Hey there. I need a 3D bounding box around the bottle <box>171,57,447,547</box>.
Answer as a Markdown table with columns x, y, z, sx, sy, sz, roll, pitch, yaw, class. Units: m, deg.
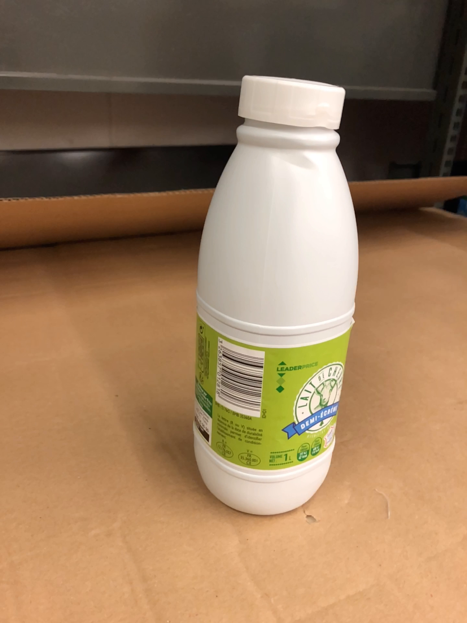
| x | y | z | sx | sy | sz | roll | pitch | yaw | class |
| --- | --- | --- | --- | --- | --- | --- | --- | --- | --- |
| 0.029 | -0.006 | 0.290 | 0.100 | 0.239 | 0.080 | -16 | 31 | -35 | bottle |
